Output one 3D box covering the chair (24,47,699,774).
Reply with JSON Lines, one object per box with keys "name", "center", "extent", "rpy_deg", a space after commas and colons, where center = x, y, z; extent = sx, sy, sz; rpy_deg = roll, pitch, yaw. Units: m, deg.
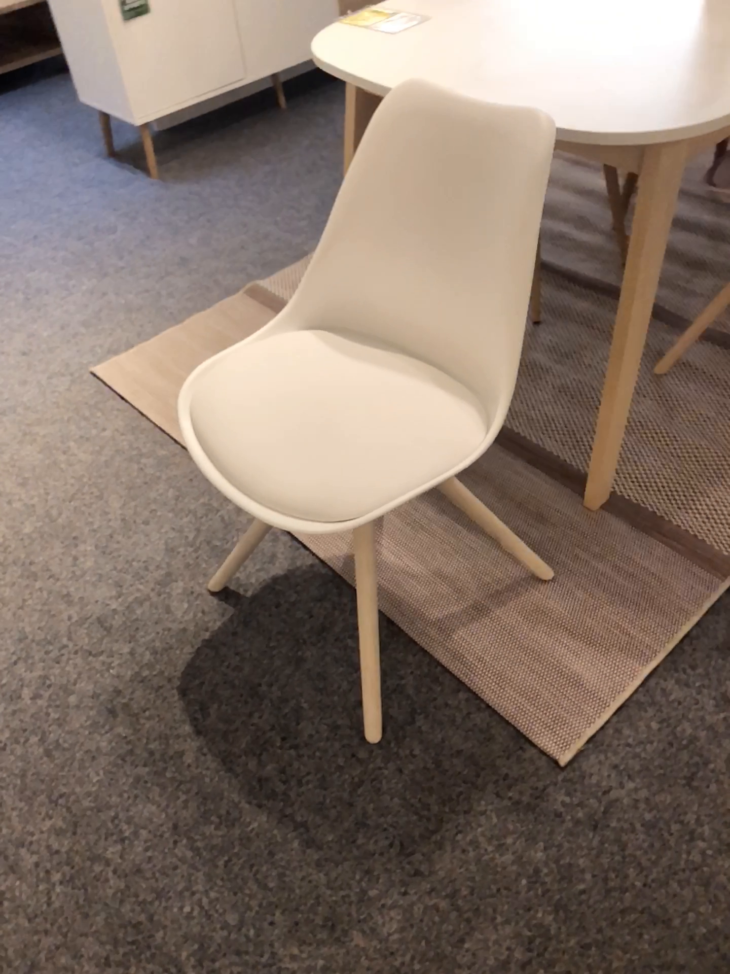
{"name": "chair", "center": [0.018, -0.127, 1.217], "extent": [0.593, 0.756, 0.551], "rpy_deg": [-35, 51, -26]}
